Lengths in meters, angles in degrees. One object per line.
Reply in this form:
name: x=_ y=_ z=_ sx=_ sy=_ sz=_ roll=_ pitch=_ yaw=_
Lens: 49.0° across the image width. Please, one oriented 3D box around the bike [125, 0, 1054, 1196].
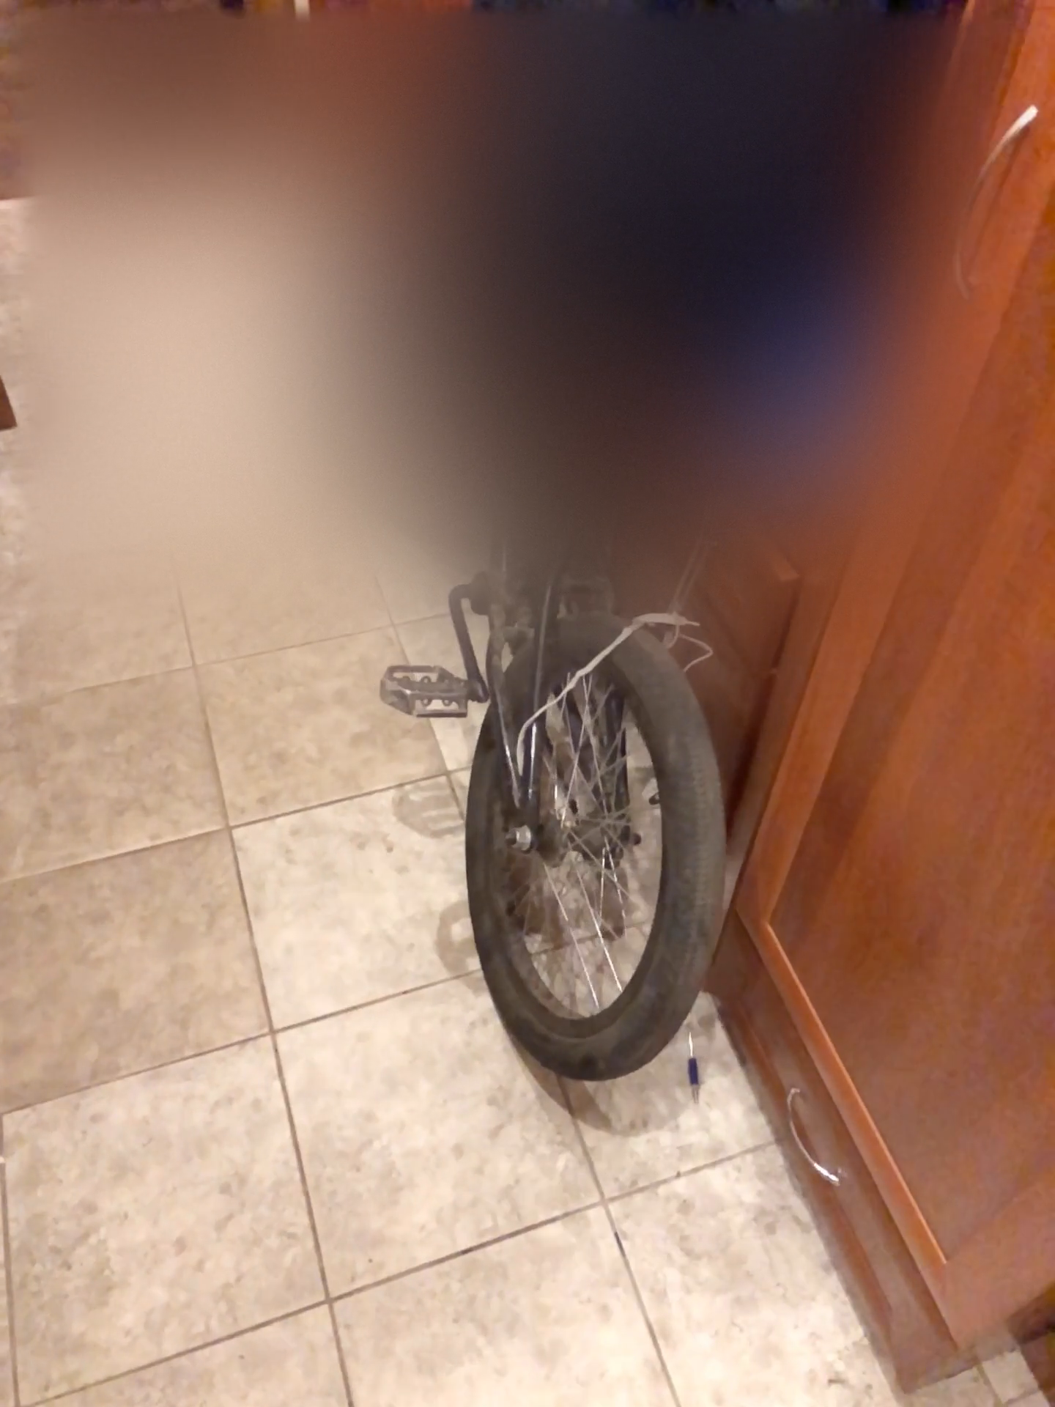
bike: x=-0.030 y=-0.328 z=1.319 sx=0.526 sy=0.853 sz=1.359 roll=-11 pitch=53 yaw=-12
